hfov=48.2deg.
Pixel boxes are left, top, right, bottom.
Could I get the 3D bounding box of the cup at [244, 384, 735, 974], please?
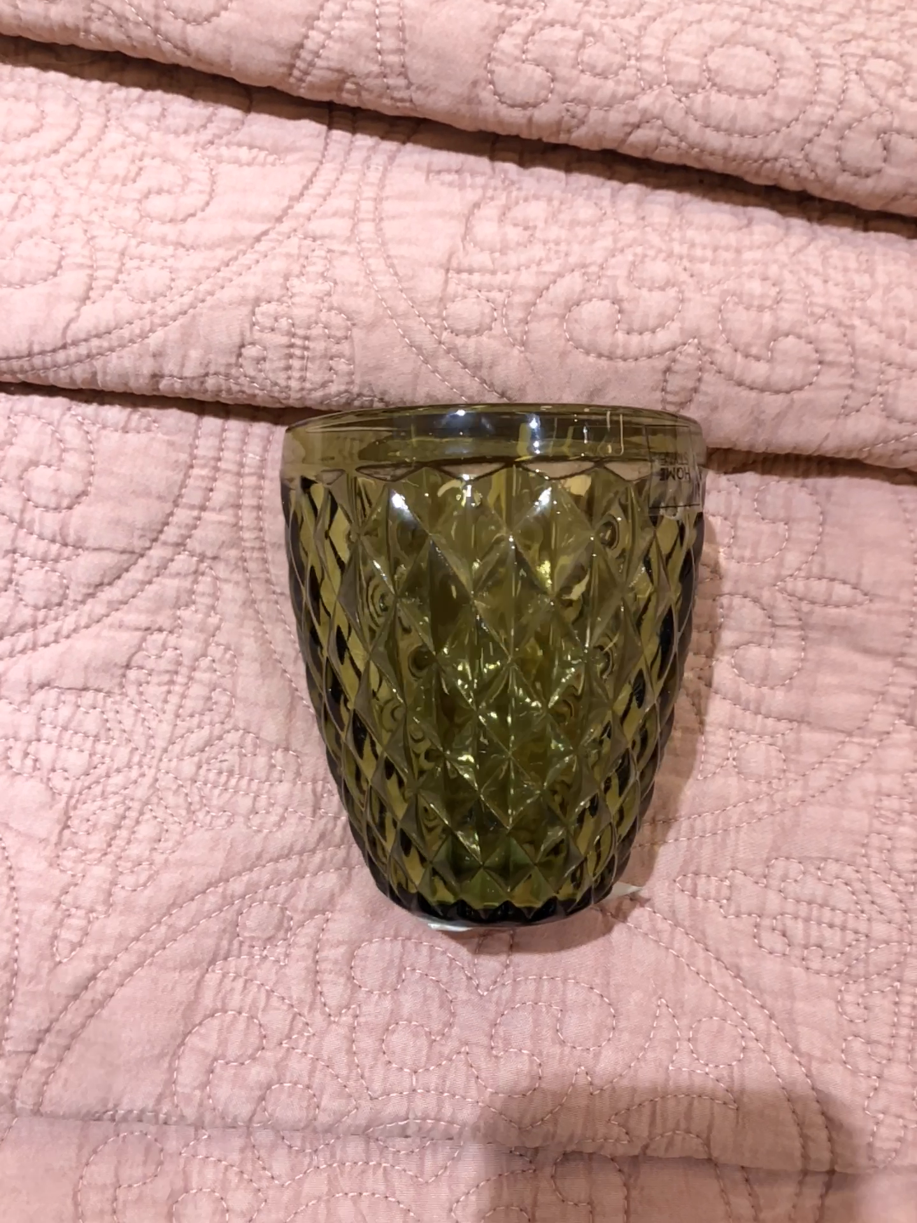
[{"bbox_3d":[0.004,0.009,0.207,0.080,0.070,0.100,0,97,-2],"label":"cup"}]
